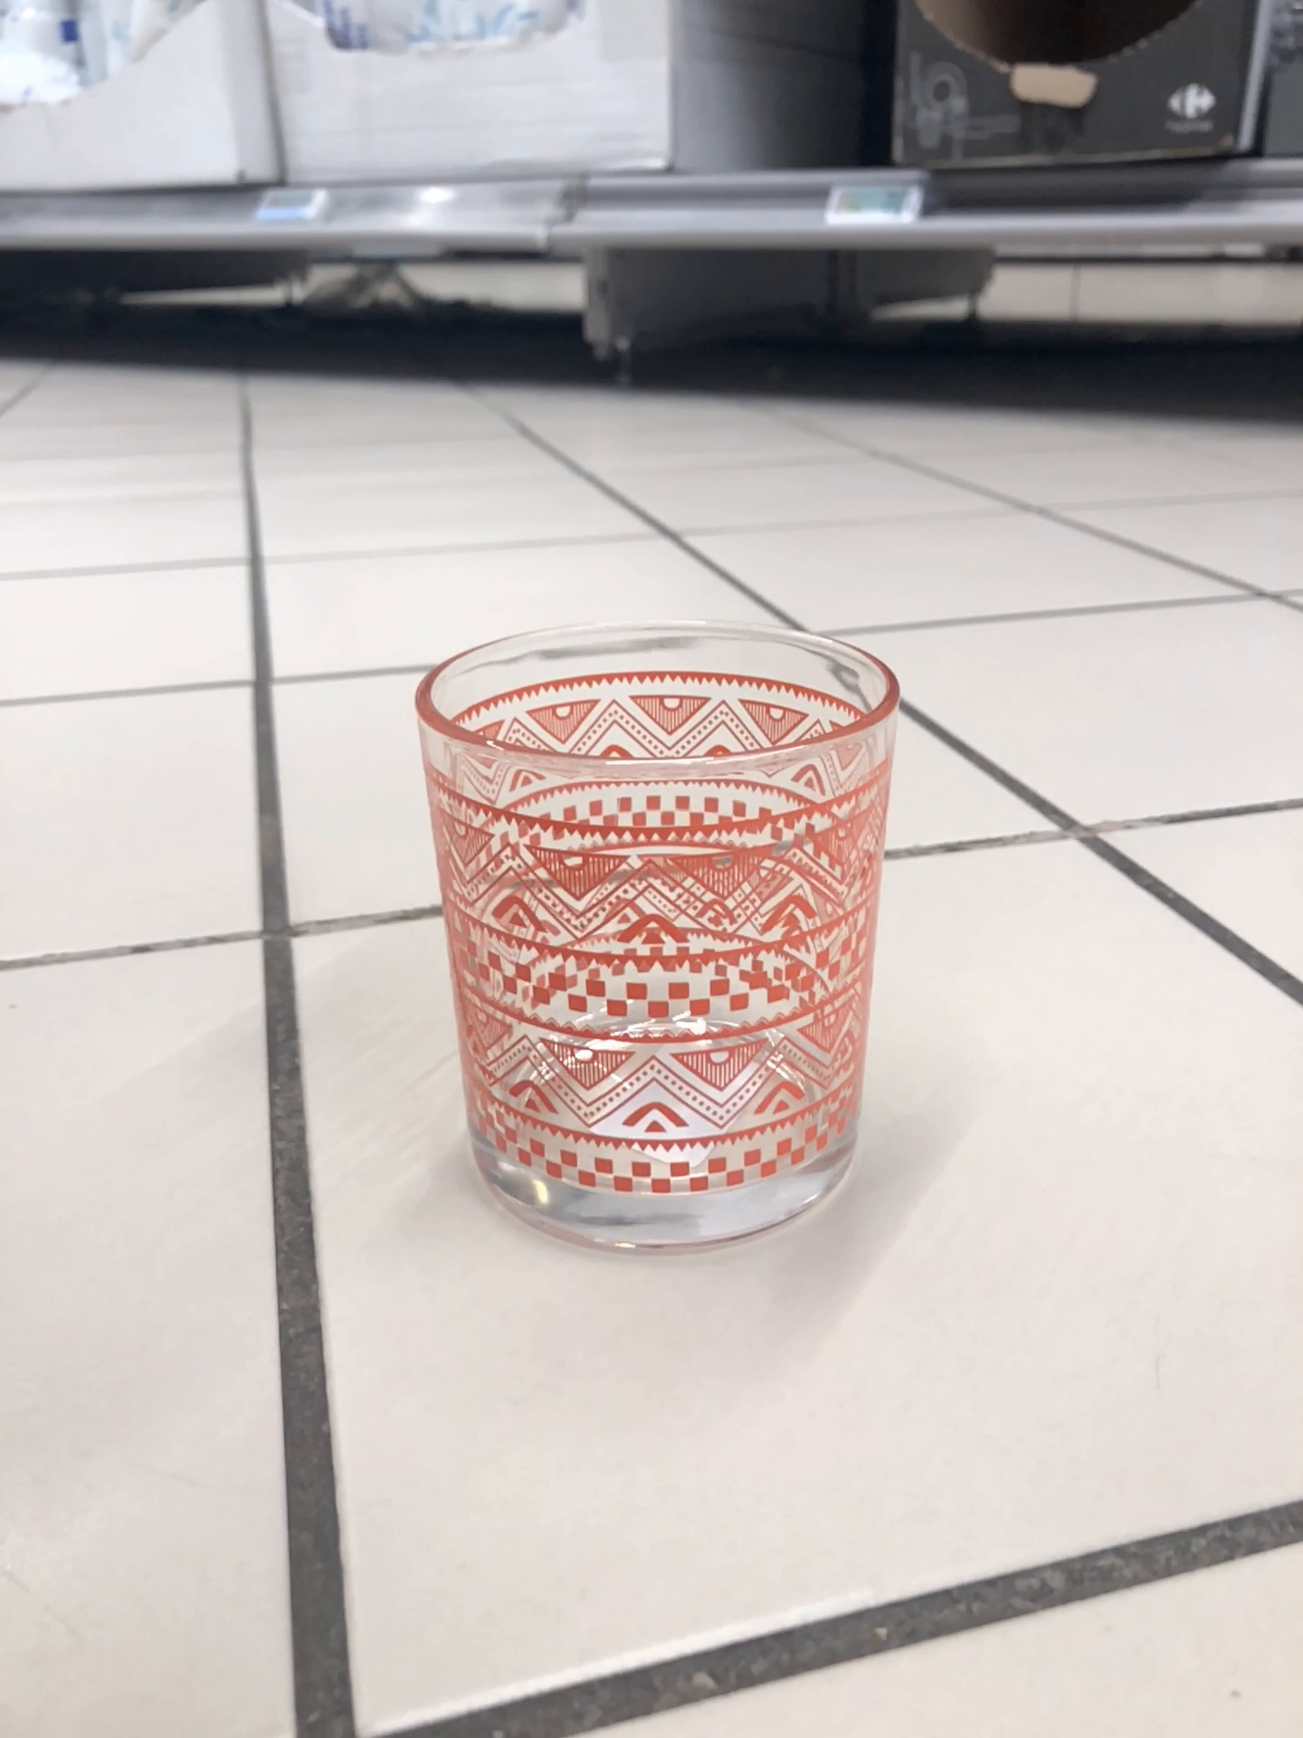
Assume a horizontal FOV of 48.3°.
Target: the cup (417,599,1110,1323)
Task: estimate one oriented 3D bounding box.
[{"bbox_3d":[0.011,0.008,0.229,0.083,0.078,0.079,-1,24,0],"label":"cup"}]
